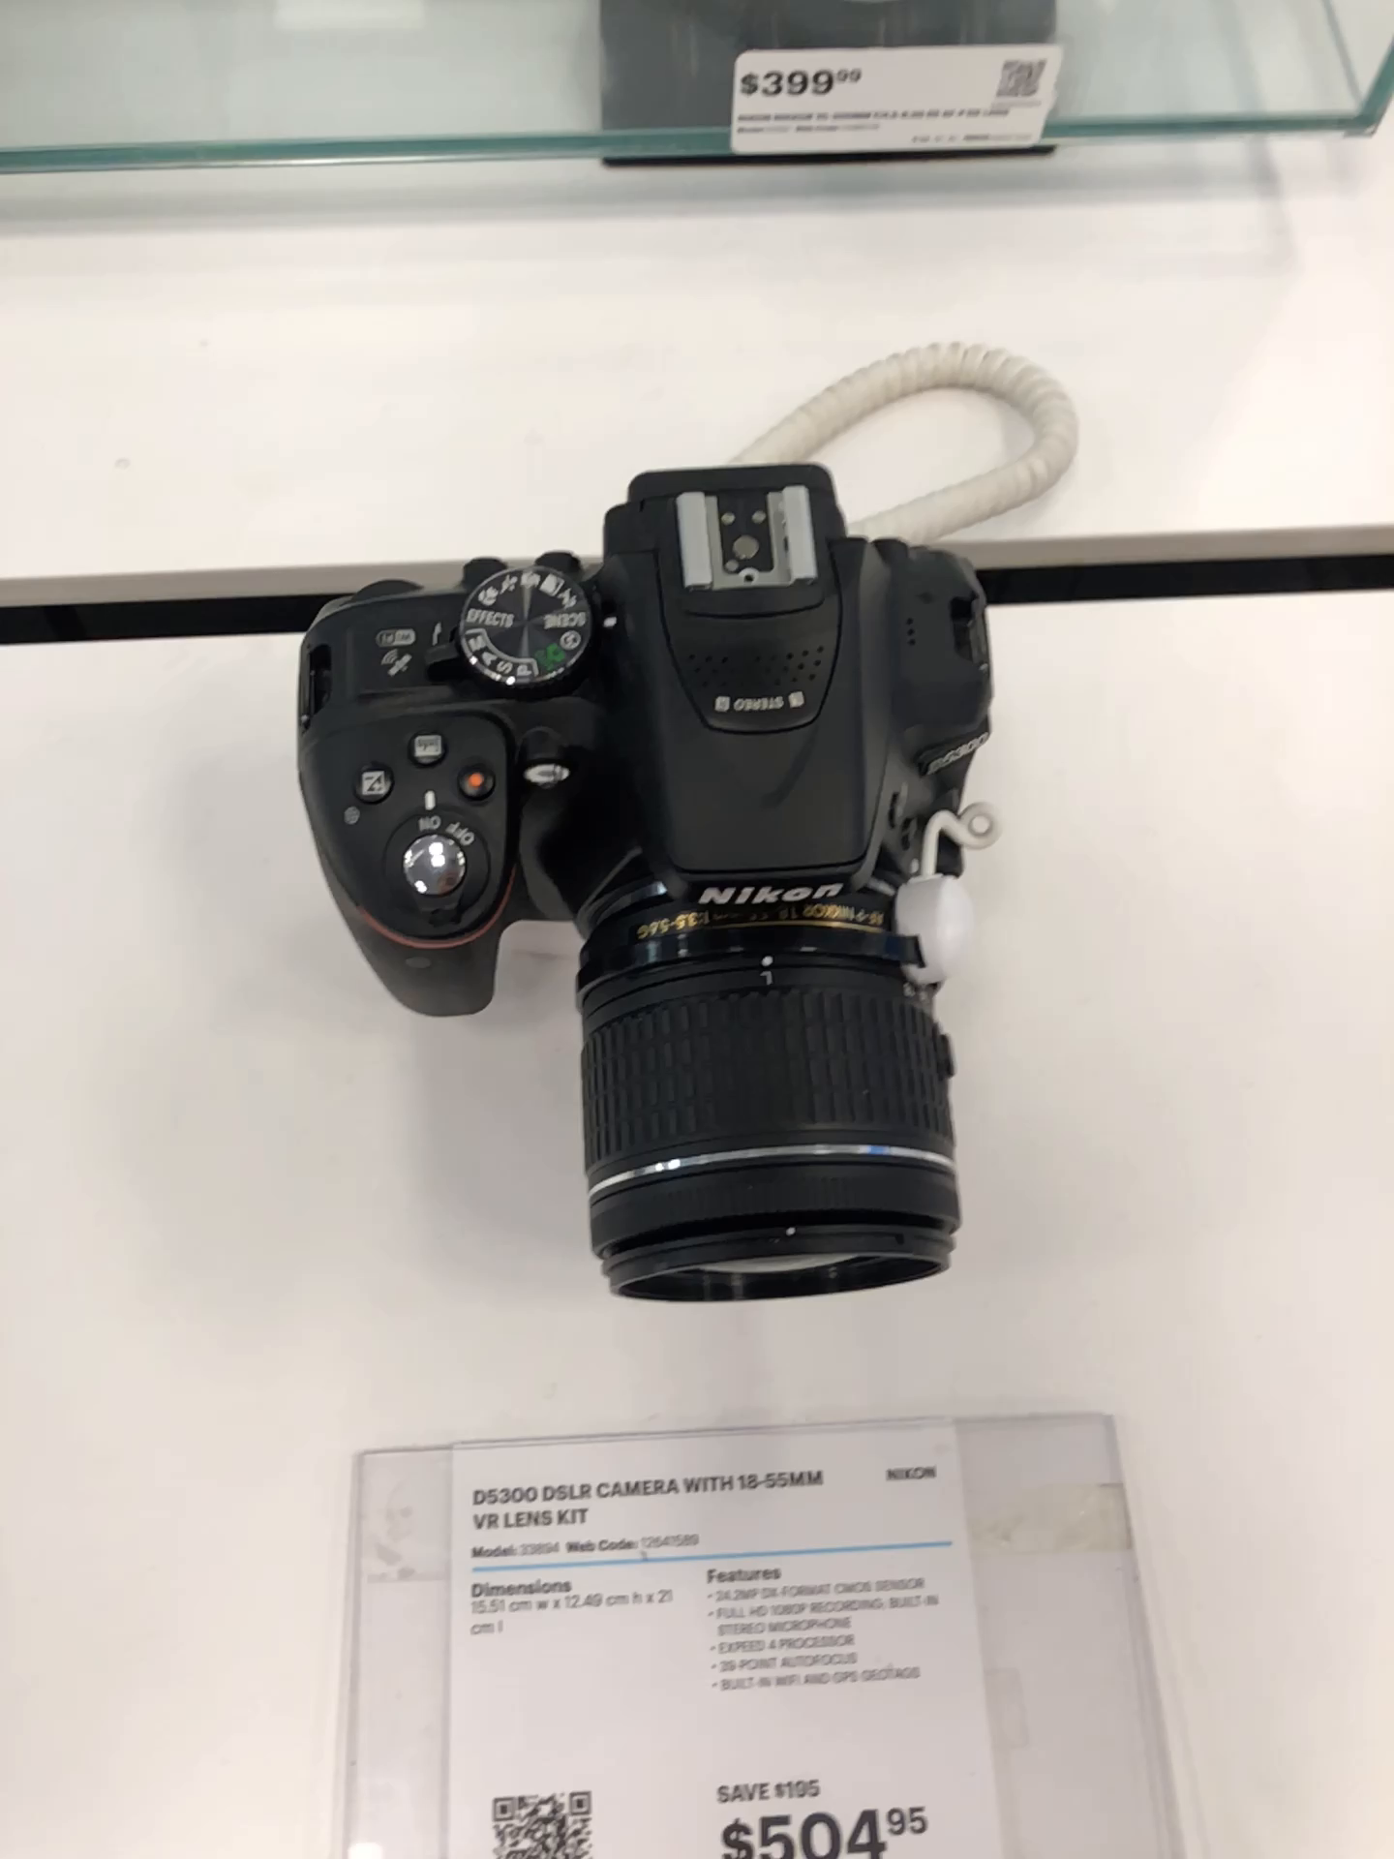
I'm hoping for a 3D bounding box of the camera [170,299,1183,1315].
[{"bbox_3d":[-0.007,-0.016,0.272,0.130,0.100,0.140,-3,67,-2],"label":"camera"}]
